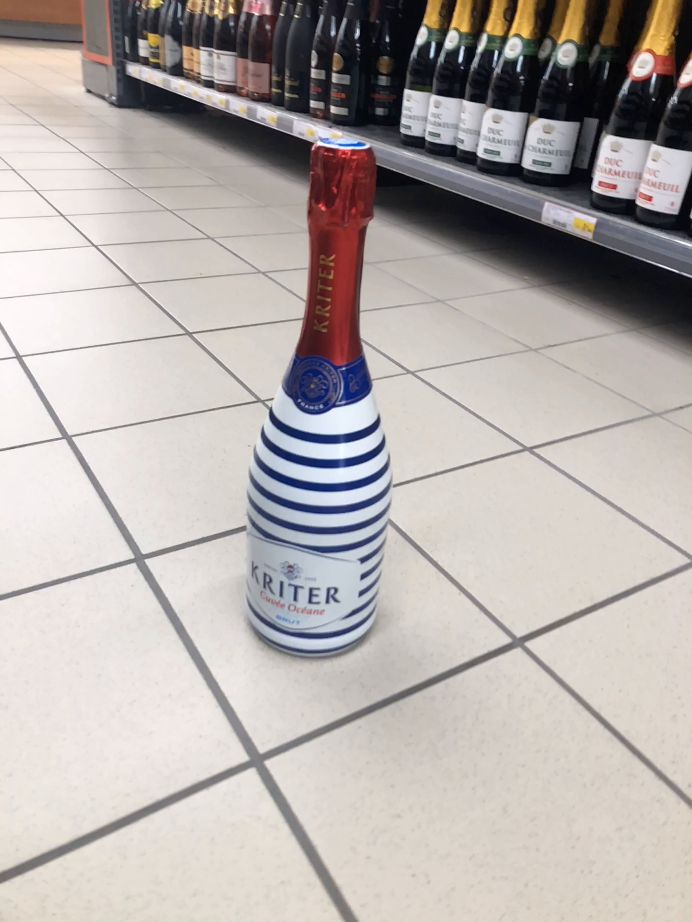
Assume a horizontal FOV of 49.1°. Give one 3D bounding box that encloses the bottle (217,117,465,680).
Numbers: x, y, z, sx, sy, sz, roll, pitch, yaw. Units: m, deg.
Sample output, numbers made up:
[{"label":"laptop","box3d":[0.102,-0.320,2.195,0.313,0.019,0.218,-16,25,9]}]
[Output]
[{"label":"bottle","box3d":[-0.010,-0.029,0.450,0.100,0.308,0.091,13,29,13]}]
